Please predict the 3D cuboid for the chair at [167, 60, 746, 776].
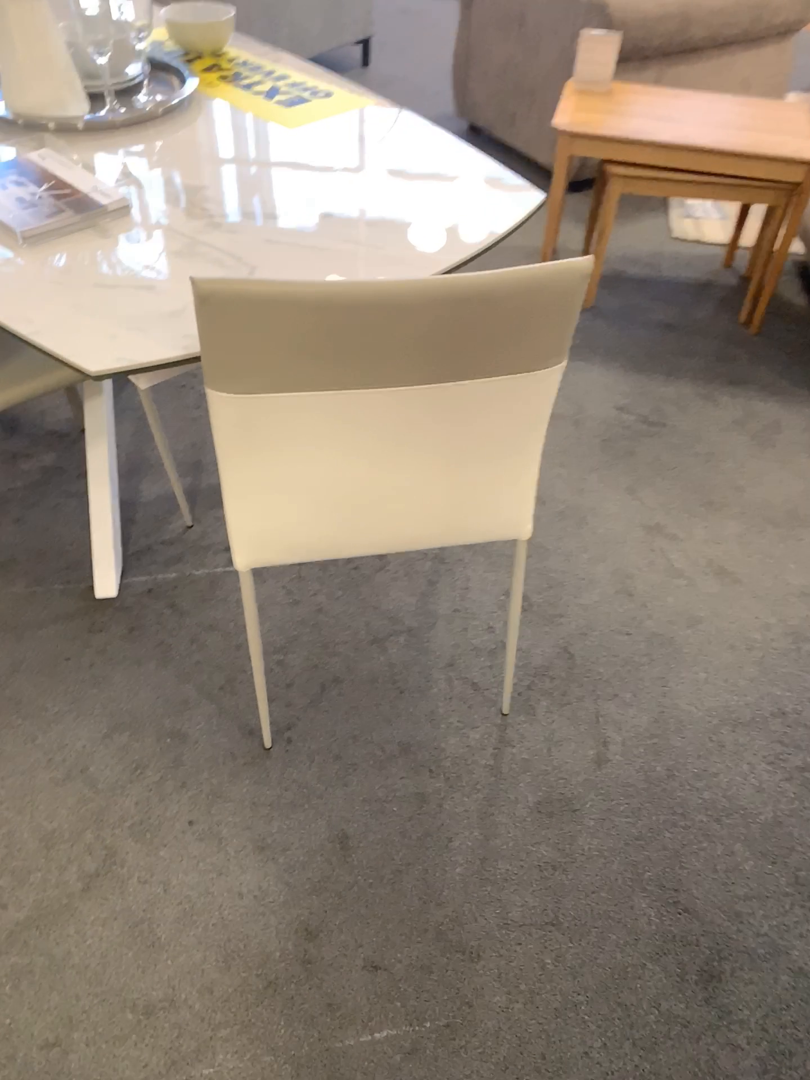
[{"bbox_3d":[-0.006,-0.162,1.230,0.532,0.822,0.586,-7,46,-9],"label":"chair"}]
